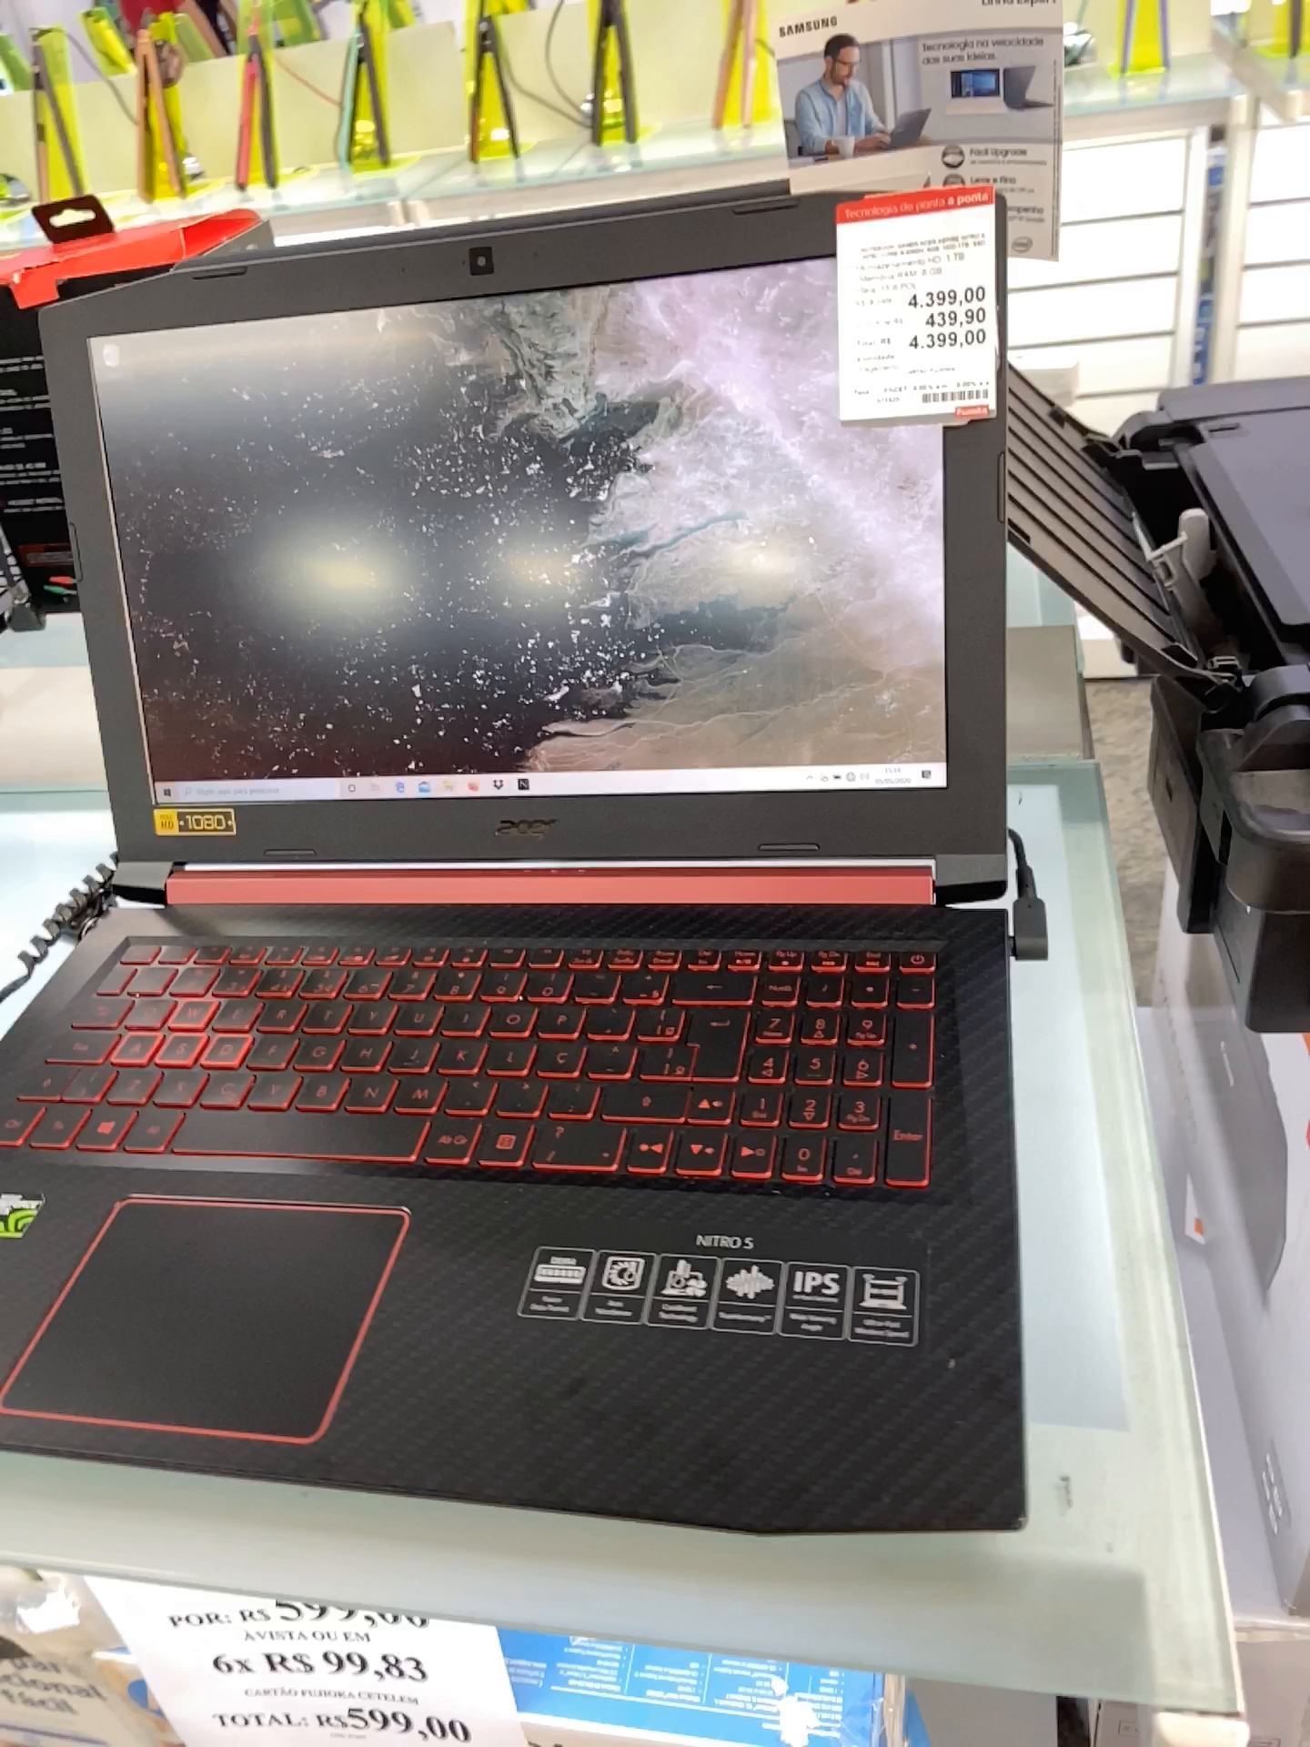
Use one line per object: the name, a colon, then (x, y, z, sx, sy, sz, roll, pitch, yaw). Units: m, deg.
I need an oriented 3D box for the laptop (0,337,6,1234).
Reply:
laptop: (-0.576, -0.061, 0.594, 0.354, 0.225, 0.324, 0, 37, 12)

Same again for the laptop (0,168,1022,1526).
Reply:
laptop: (-0.082, -0.043, 0.443, 0.387, 0.218, 0.362, -1, 38, 15)
